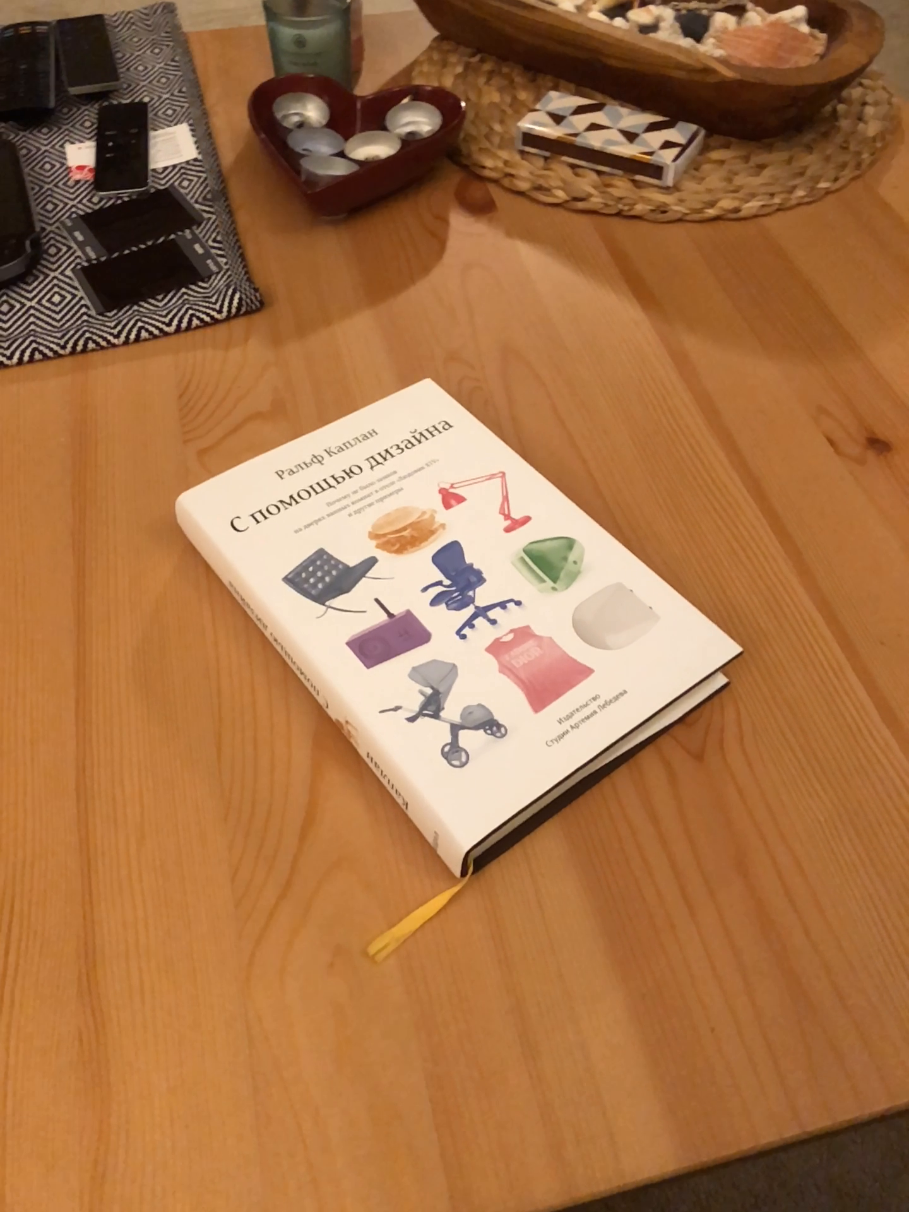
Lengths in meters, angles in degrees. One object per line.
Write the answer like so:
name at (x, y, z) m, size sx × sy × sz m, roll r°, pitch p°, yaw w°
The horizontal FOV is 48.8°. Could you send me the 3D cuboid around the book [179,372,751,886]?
book at (-0.003, -0.008, 0.466) m, size 0.152 × 0.034 × 0.226 m, roll -31°, pitch 58°, yaw -22°
